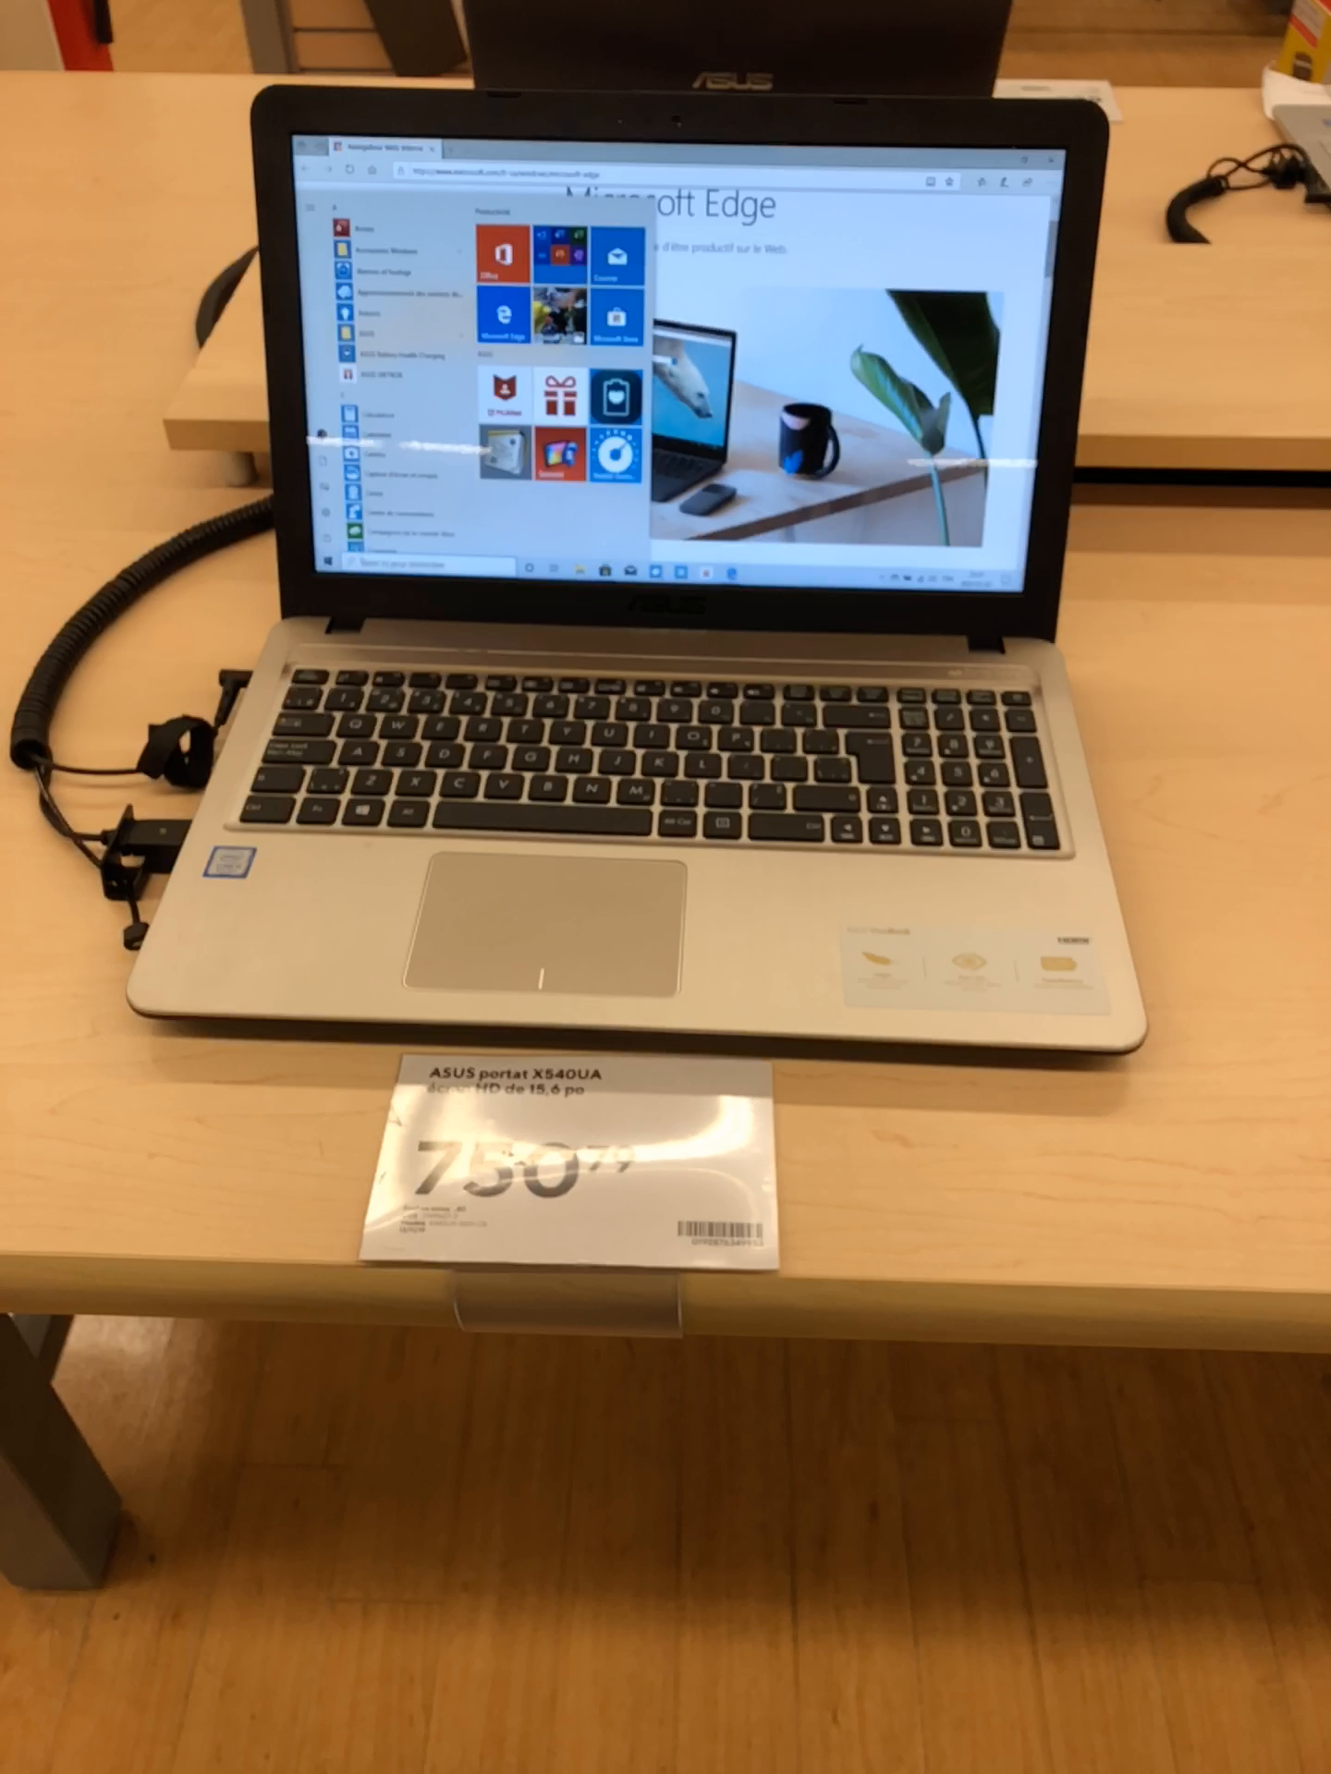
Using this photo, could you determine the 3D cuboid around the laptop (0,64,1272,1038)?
[{"bbox_3d":[-0.010,-0.159,0.623,0.383,0.215,0.361,2,47,1],"label":"laptop"}]
